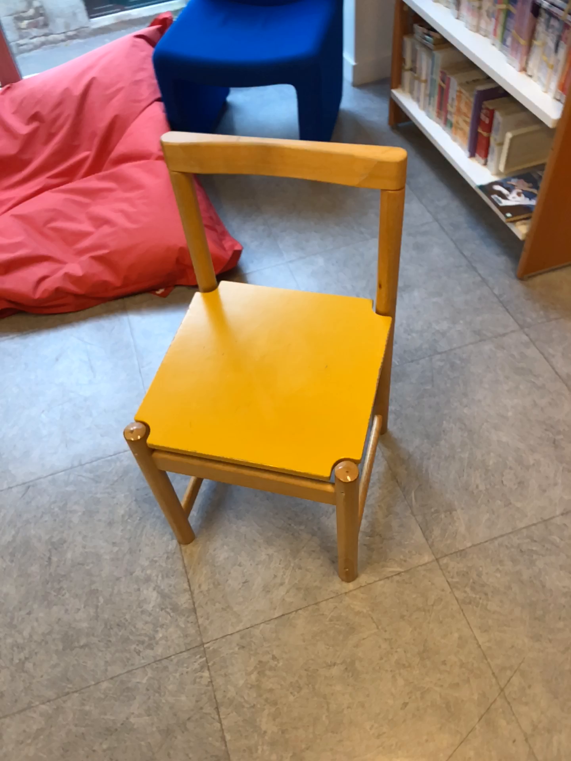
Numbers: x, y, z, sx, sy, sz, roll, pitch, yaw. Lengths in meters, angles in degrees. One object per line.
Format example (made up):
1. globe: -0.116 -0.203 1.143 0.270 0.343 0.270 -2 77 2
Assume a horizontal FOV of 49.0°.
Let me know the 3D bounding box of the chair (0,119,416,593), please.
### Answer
1. chair: -0.058 -0.009 1.076 0.450 0.667 0.422 9 53 12
